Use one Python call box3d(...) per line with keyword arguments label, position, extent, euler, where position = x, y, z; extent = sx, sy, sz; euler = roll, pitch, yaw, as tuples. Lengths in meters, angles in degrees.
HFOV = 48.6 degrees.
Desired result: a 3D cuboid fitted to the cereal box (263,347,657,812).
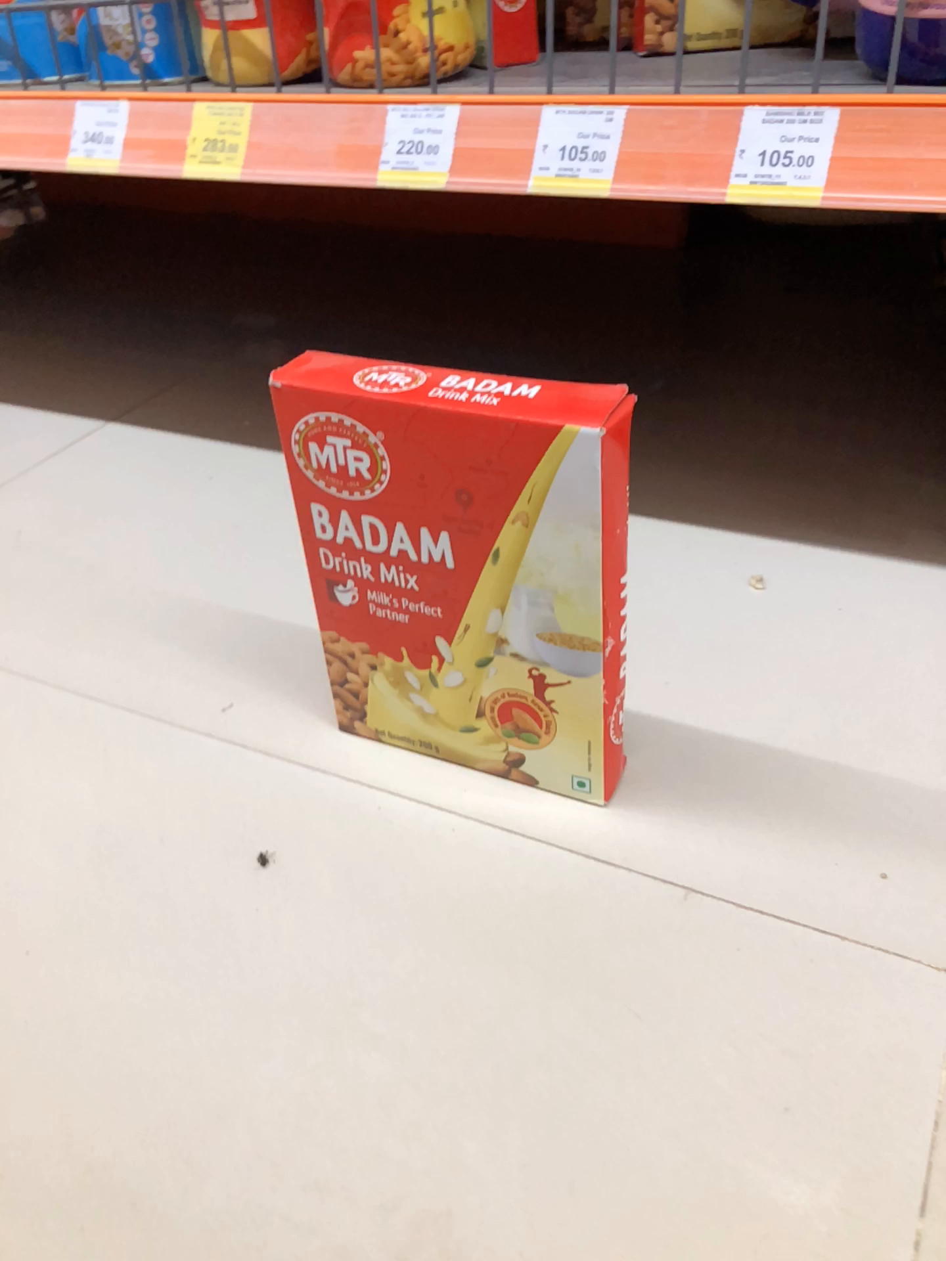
box3d(label="cereal box", position=(-0.001, -0.018, 0.401), extent=(0.130, 0.159, 0.040), euler=(12, 38, 23))
